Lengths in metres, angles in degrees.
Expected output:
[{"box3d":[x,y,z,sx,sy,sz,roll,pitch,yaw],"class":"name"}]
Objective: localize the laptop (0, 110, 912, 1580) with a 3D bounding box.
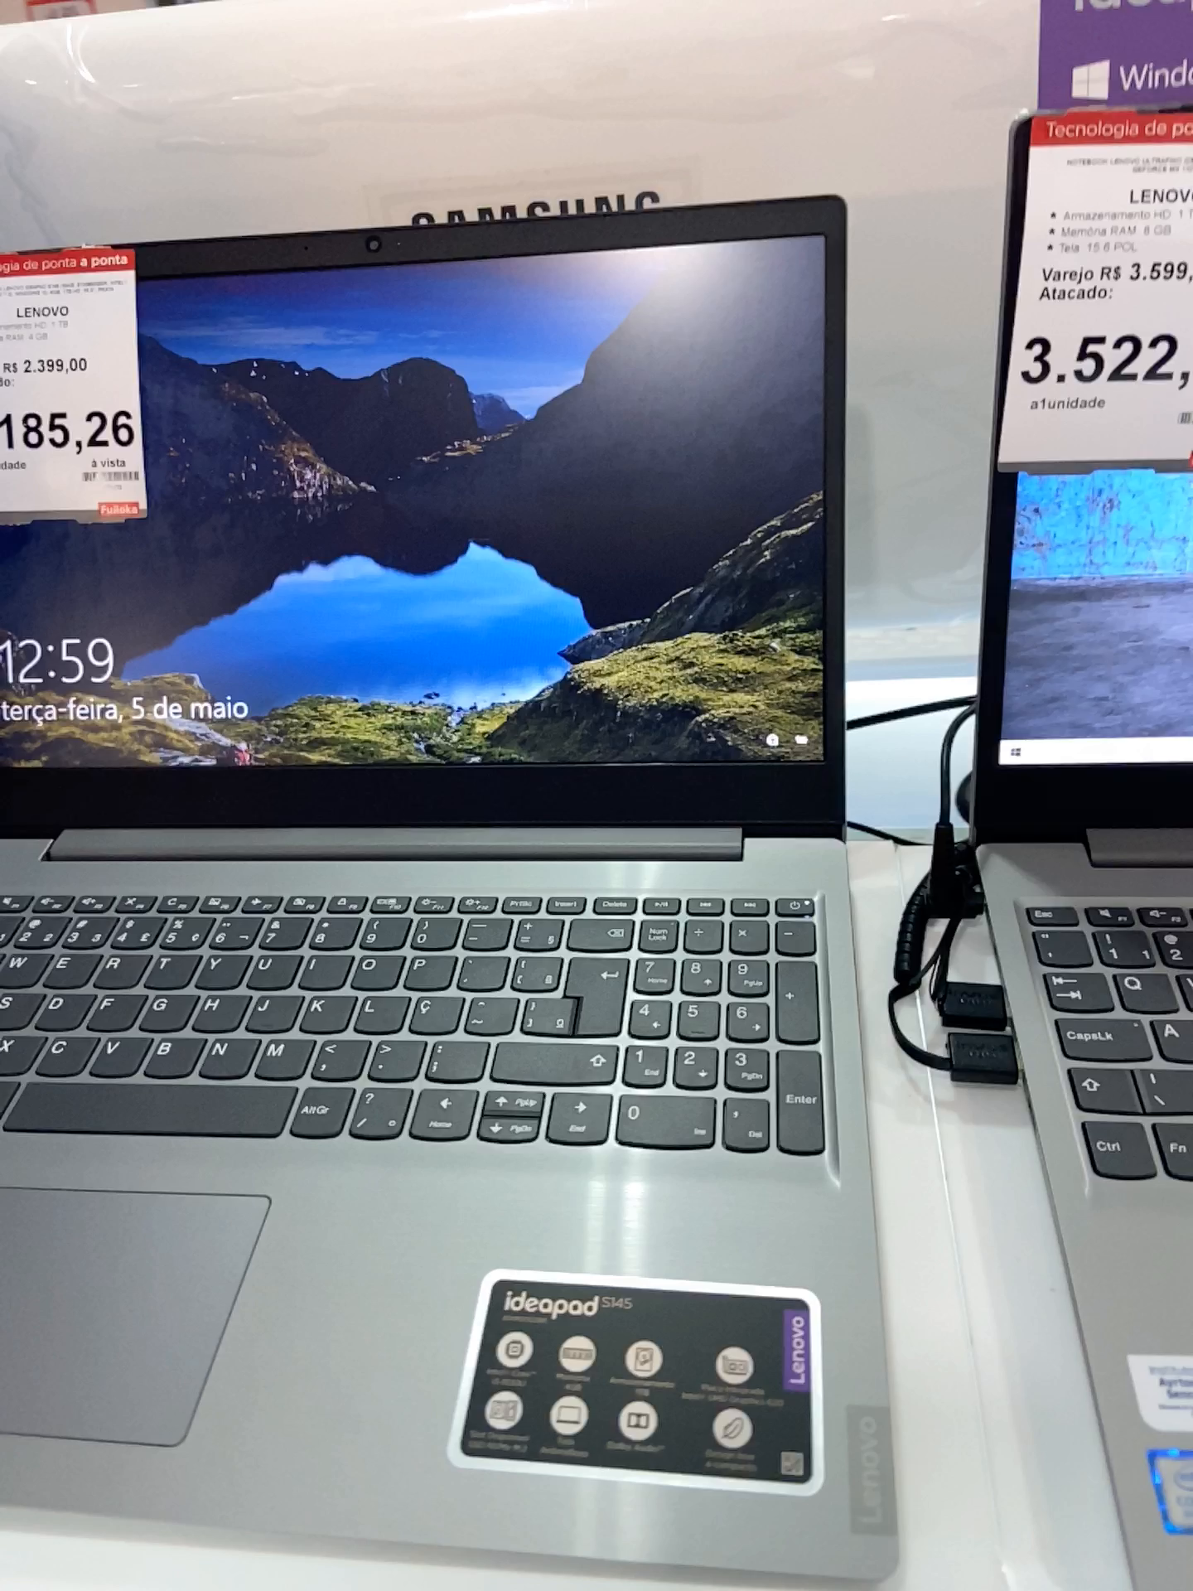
[{"box3d":[-0.101,-0.047,0.397,0.358,0.212,0.390,0,36,9],"class":"laptop"}]
